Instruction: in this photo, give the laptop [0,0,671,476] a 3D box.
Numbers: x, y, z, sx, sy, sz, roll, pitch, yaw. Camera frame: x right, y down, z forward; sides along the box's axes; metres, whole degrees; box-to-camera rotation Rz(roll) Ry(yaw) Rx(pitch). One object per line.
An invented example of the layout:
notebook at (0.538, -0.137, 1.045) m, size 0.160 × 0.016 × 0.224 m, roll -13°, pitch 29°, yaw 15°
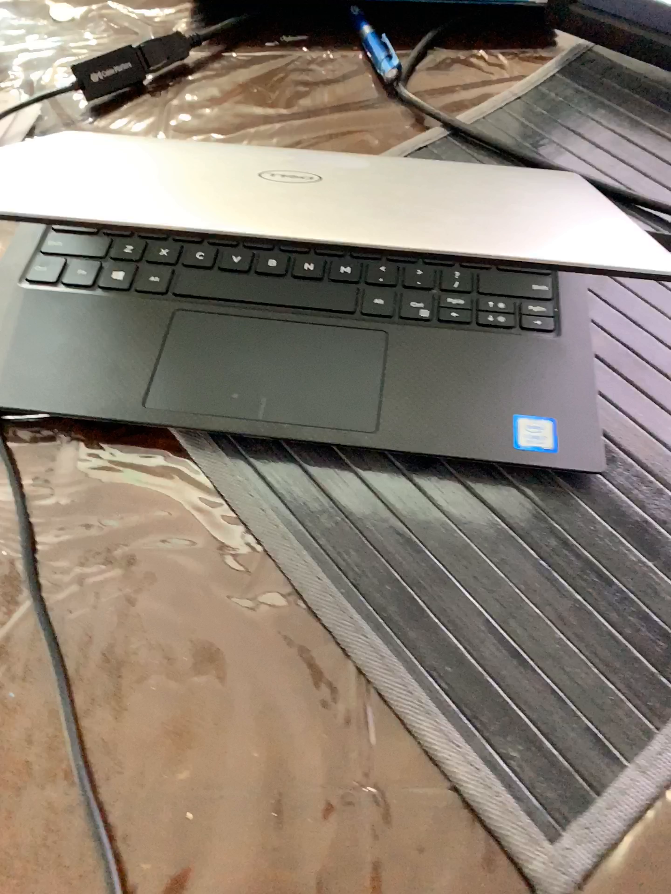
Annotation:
laptop at (-0.021, -0.105, 0.305) m, size 0.290 × 0.085 × 0.185 m, roll 7°, pitch 57°, yaw 4°
